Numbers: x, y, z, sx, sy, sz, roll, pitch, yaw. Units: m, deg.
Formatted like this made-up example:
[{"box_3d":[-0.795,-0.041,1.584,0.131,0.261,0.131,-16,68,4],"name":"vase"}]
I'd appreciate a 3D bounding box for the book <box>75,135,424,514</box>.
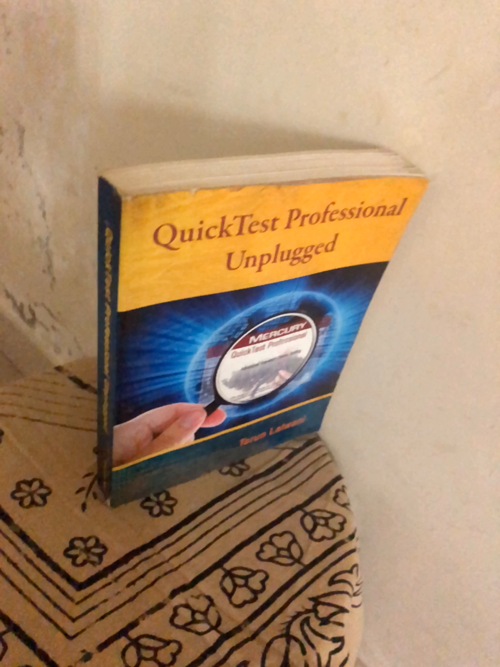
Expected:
[{"box_3d":[-0.014,-0.002,0.409,0.210,0.269,0.050,-11,43,-30],"name":"book"}]
